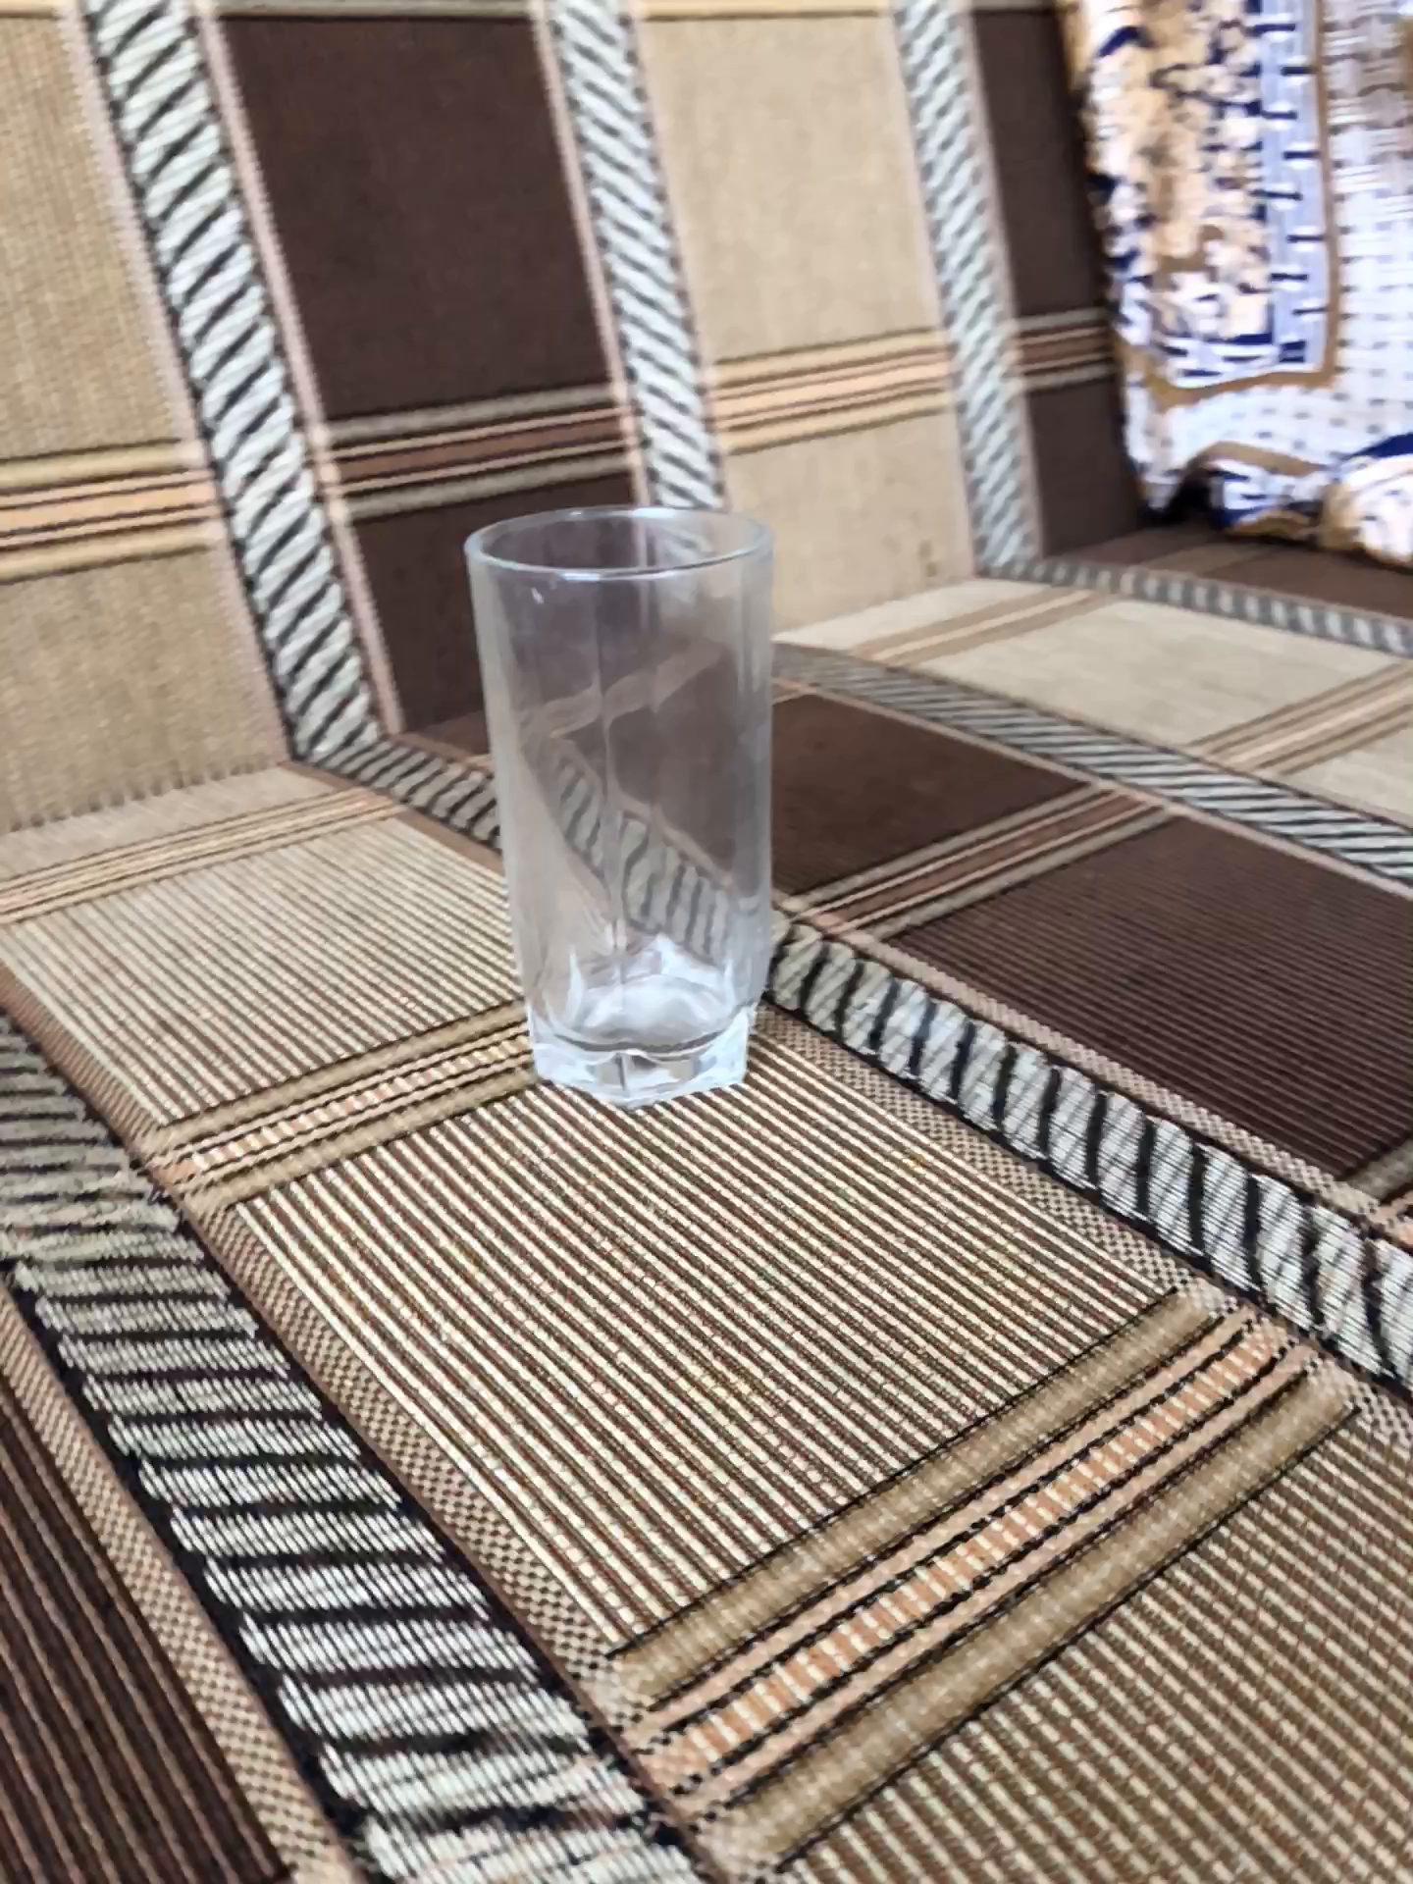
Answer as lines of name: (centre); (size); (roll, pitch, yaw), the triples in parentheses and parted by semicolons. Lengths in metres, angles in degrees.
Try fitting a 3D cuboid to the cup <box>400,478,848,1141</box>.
cup: (-0.019, -0.036, 0.376); (0.077, 0.130, 0.076); (-1, 25, 1)
